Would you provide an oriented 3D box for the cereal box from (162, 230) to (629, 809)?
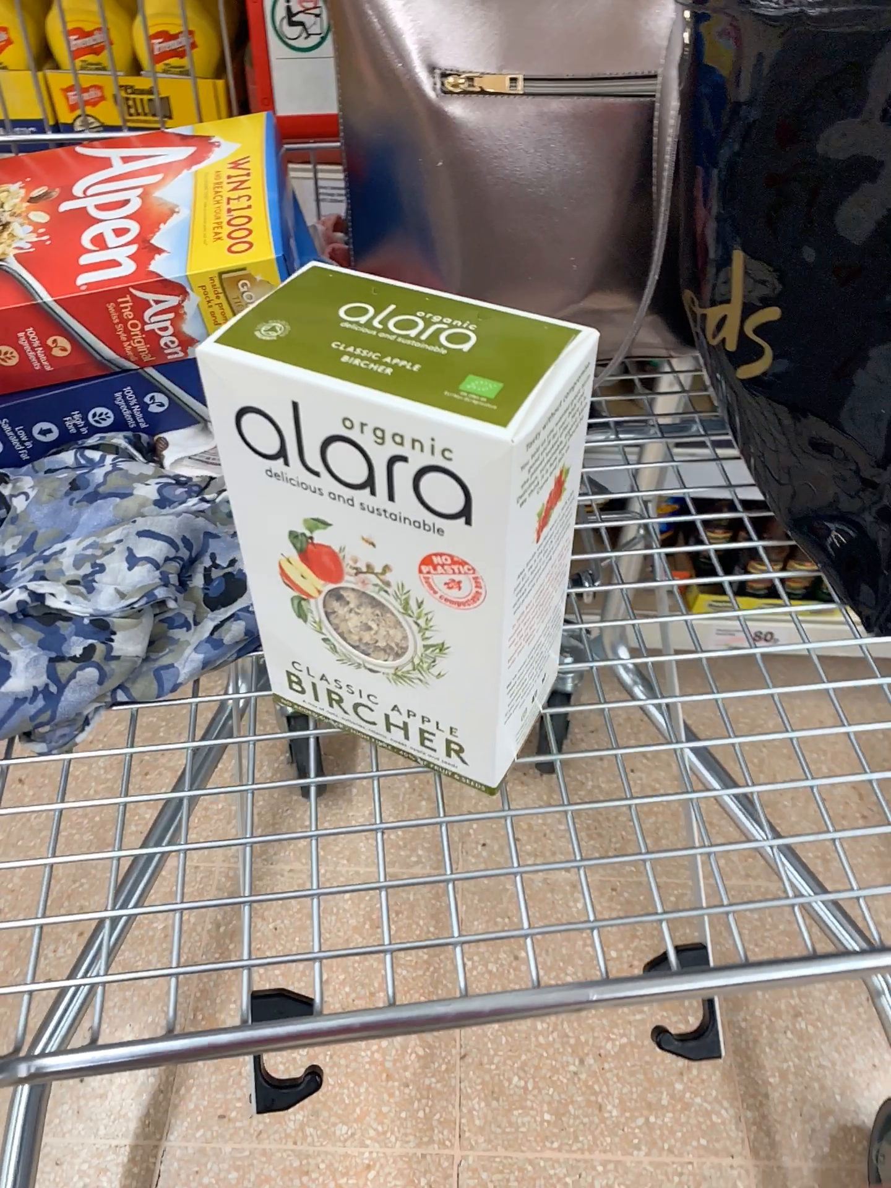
[{"bbox_3d":[-0.015,-0.022,0.345,0.120,0.178,0.081,21,49,18],"label":"cereal box"}]
